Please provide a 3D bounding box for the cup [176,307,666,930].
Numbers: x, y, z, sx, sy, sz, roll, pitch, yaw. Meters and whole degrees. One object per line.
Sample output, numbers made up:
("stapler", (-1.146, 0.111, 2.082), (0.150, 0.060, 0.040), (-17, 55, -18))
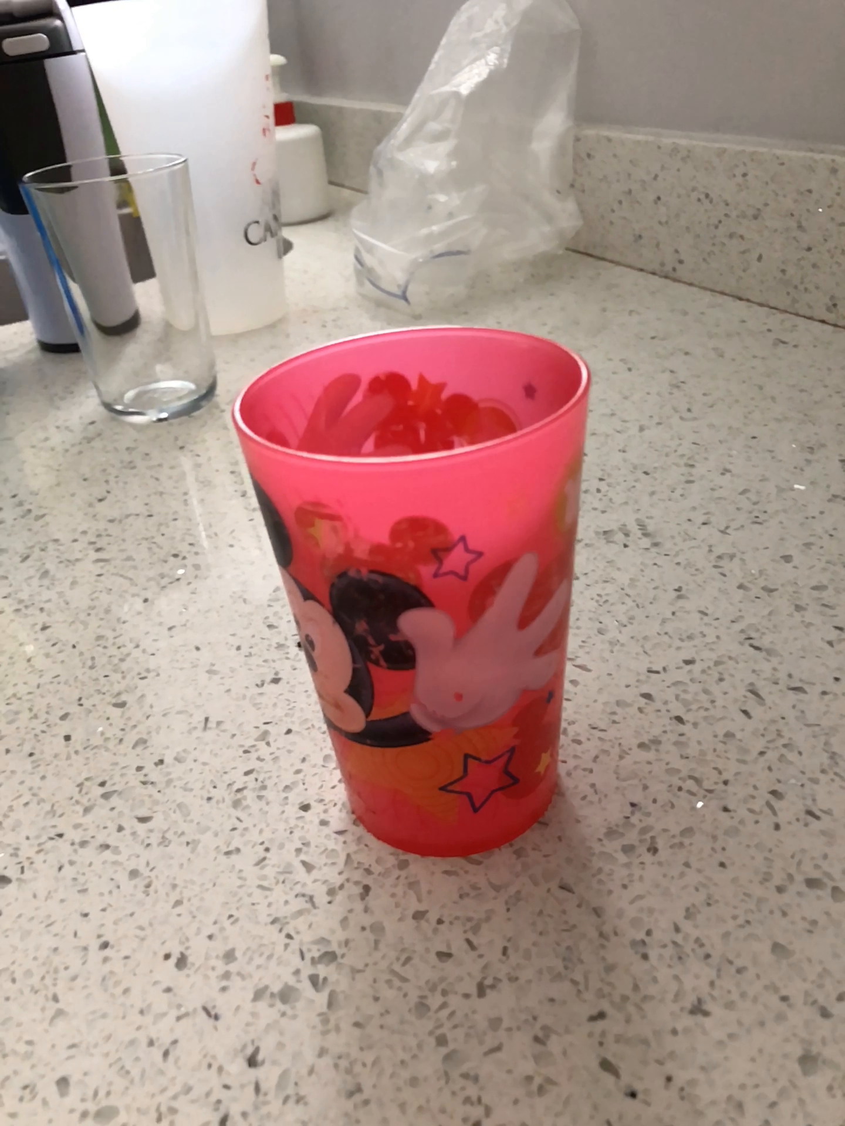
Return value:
("cup", (0.000, 0.007, 0.206), (0.071, 0.096, 0.074), (-5, 31, 3))
